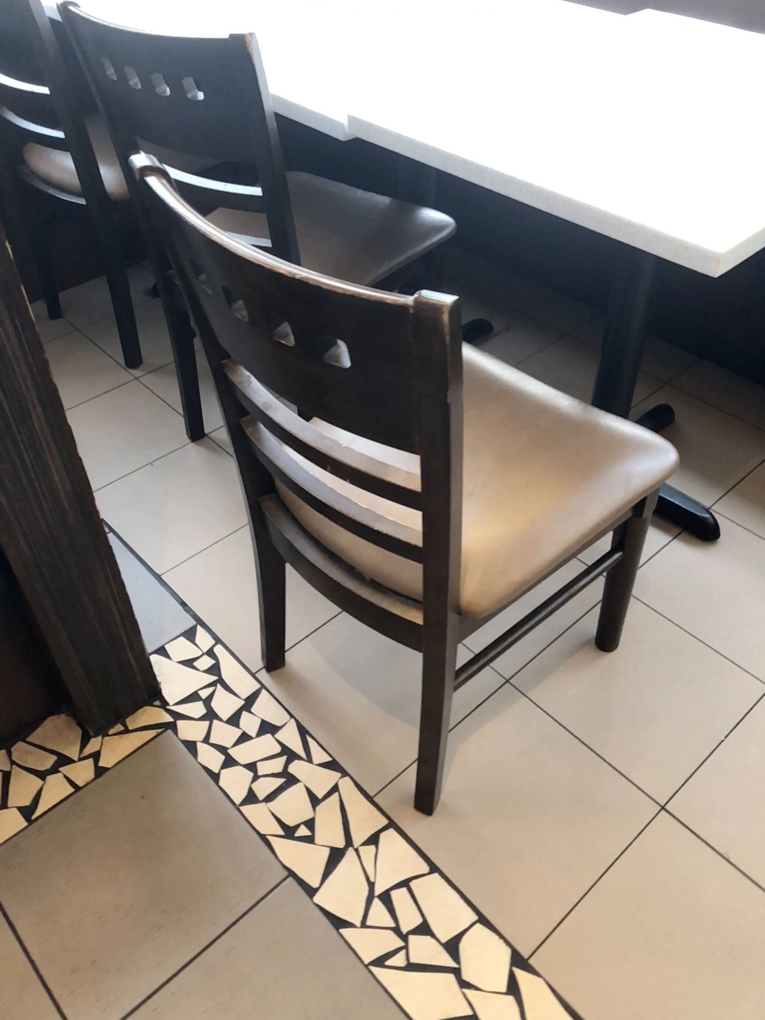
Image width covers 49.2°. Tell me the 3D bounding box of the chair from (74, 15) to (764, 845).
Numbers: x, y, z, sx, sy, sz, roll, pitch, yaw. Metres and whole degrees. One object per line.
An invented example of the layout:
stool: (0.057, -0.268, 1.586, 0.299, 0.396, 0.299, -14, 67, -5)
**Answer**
chair: (0.091, -0.104, 1.033, 0.571, 0.715, 0.472, -33, 53, -28)
